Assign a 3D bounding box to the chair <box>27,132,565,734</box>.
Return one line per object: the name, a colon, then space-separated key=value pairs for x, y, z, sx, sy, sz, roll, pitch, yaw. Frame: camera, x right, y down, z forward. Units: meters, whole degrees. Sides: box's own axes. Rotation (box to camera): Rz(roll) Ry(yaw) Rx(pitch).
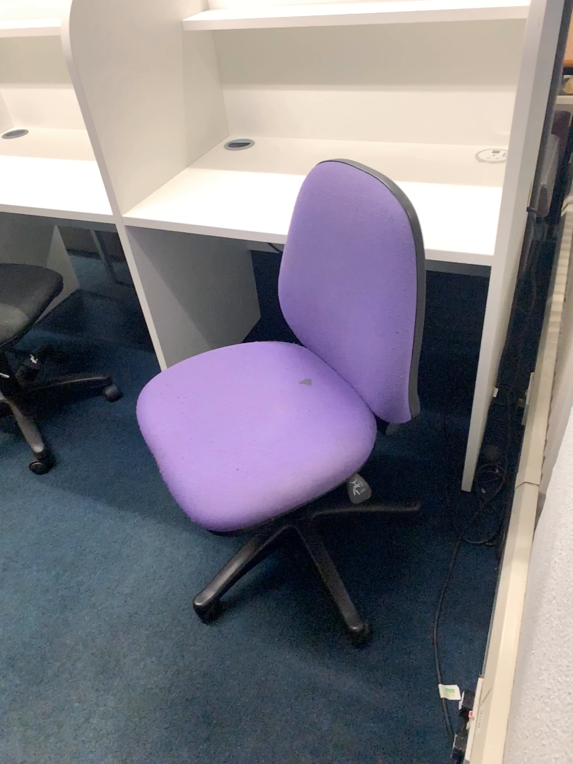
chair: x=-0.012 y=0.070 z=1.243 sx=0.651 sy=0.861 sz=0.696 roll=-22 pitch=42 yaw=-17
